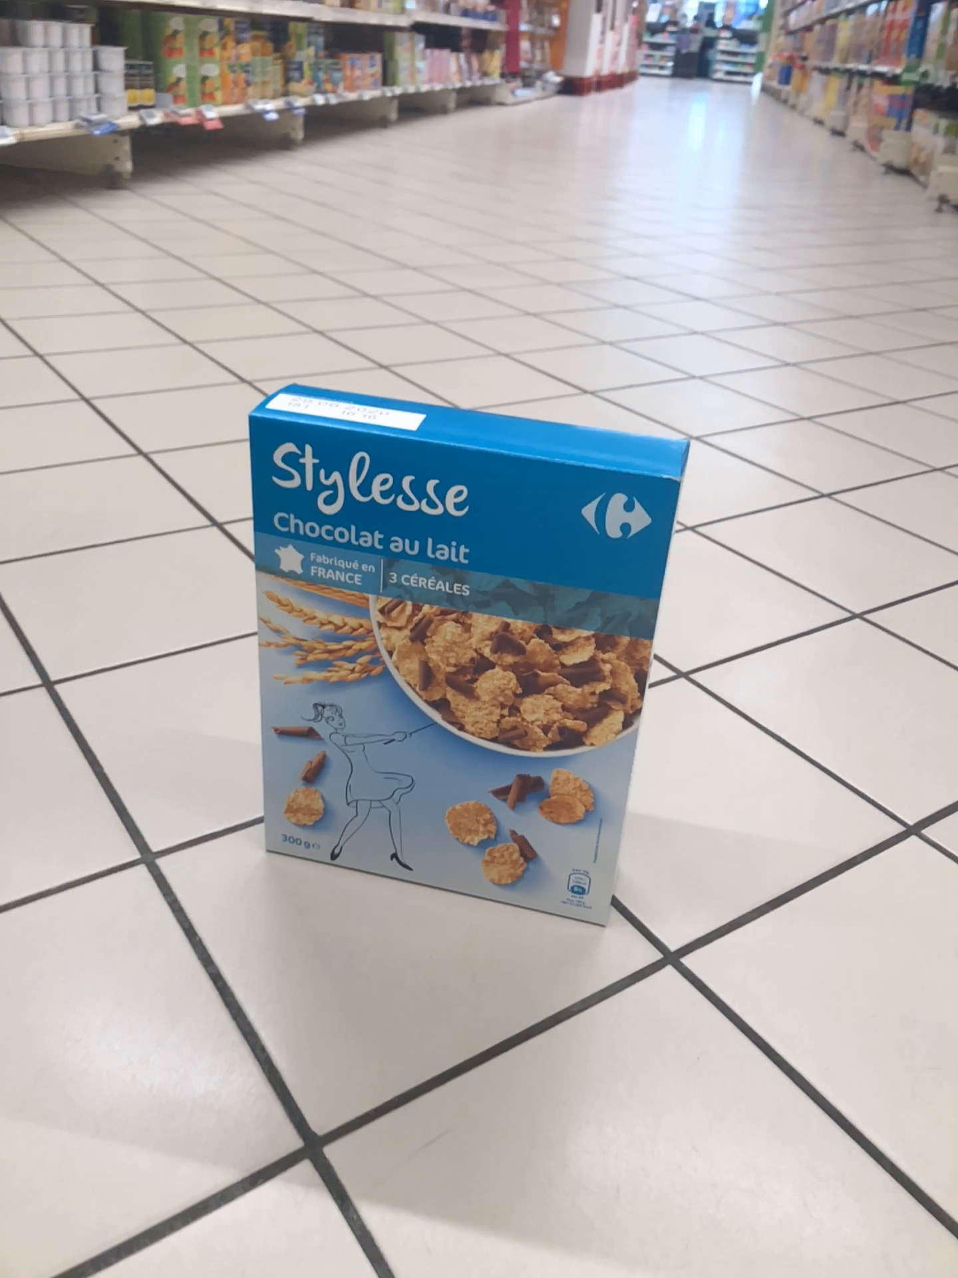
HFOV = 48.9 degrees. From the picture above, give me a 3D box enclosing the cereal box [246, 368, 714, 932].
[{"bbox_3d":[-0.006,0.009,0.533,0.200,0.249,0.070,10,29,10],"label":"cereal box"}]
